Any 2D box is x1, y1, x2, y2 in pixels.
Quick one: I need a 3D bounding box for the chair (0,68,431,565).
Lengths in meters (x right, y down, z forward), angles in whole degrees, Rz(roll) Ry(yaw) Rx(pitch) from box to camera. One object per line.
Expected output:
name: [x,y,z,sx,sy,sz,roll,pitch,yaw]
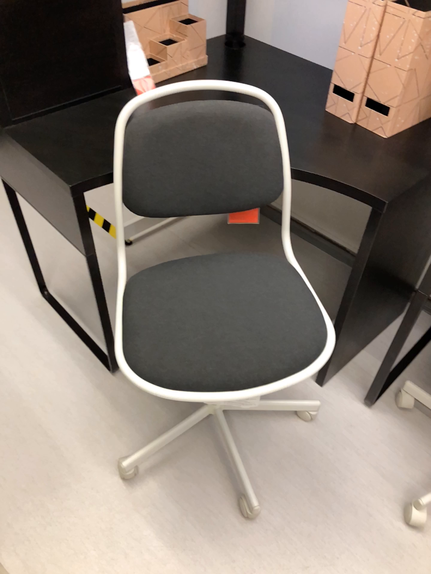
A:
chair: [-0.038,0.094,1.111,0.660,0.904,0.624,-9,47,-11]
